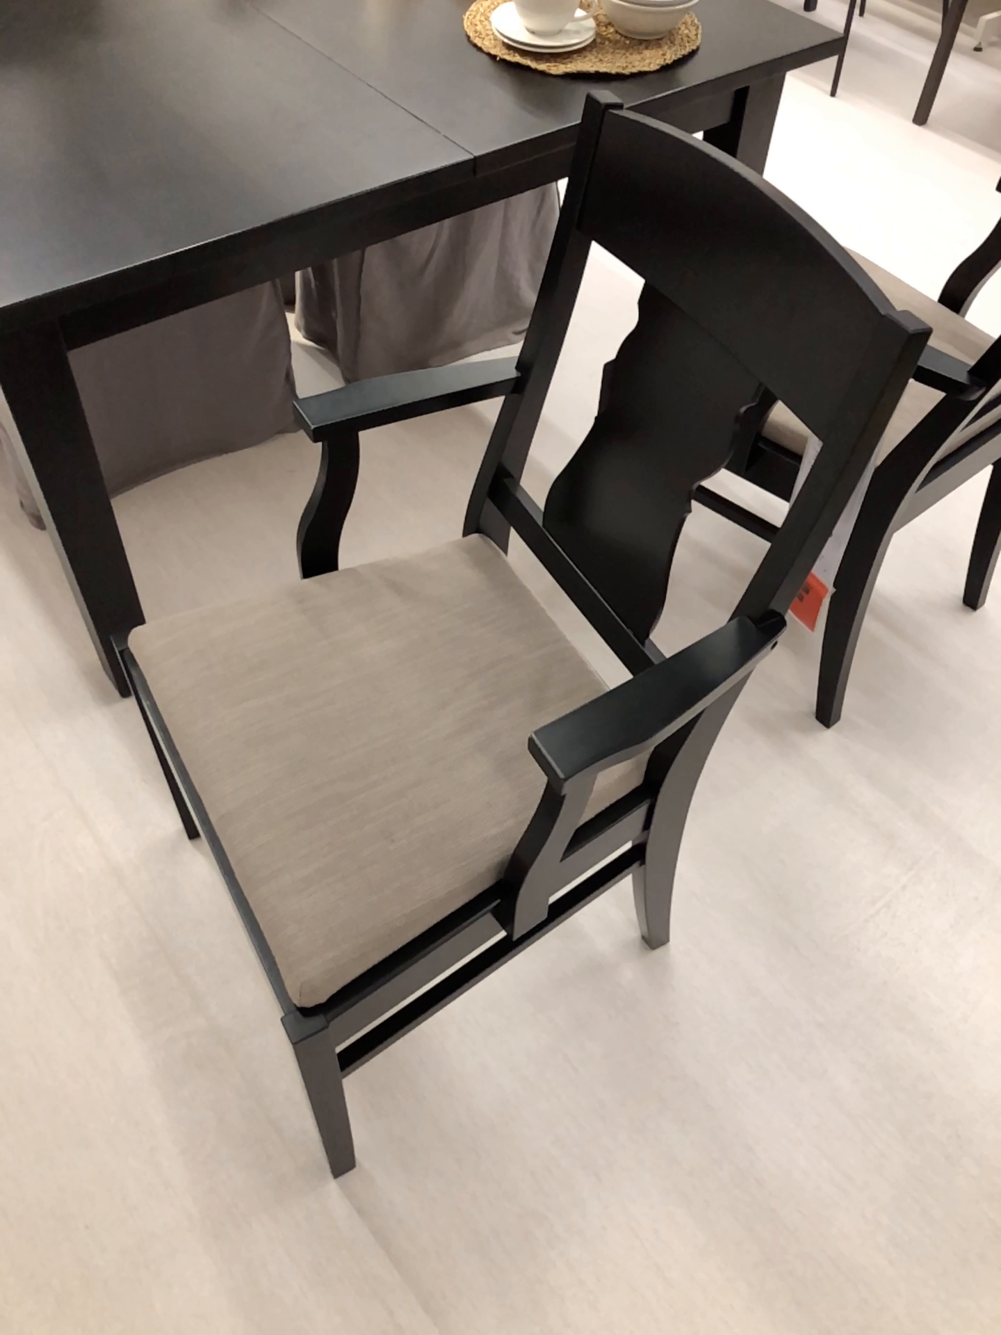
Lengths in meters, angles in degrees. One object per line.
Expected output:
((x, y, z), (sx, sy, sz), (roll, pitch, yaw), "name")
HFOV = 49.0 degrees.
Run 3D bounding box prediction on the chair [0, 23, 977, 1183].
((-0.080, -0.001, 1.184), (0.571, 0.994, 0.572), (-23, 55, -20), "chair")
